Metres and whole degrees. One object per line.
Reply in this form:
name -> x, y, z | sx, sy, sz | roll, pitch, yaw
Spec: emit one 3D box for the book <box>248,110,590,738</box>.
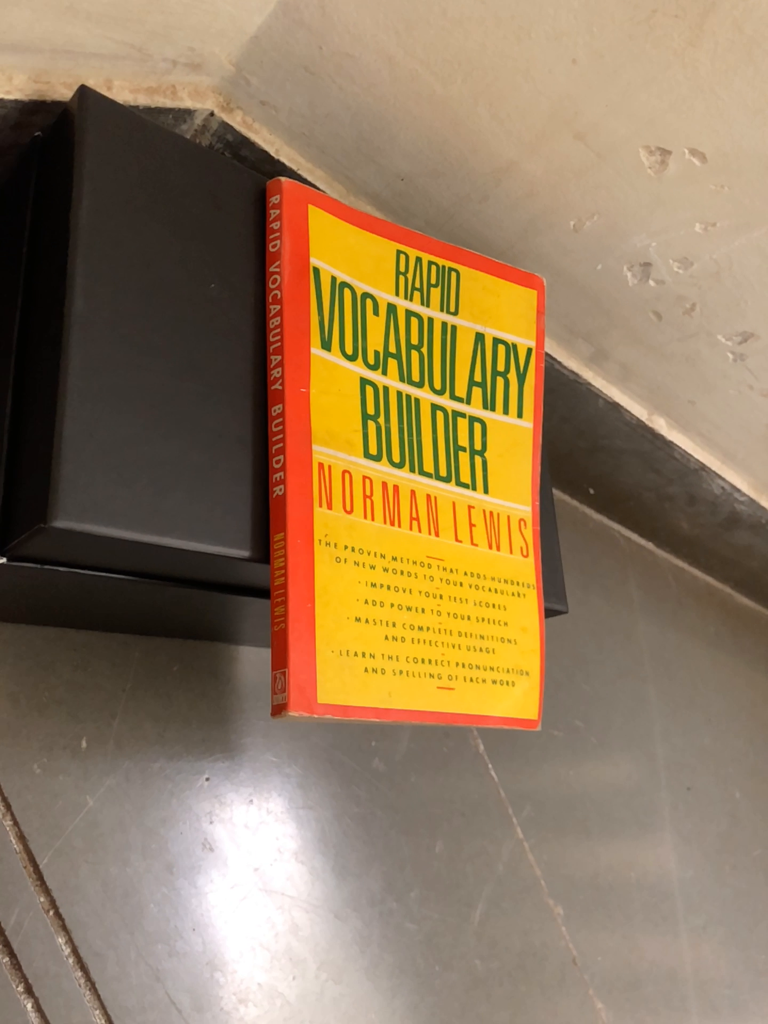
book -> 0.016, -0.031, 0.348 | 0.141, 0.030, 0.230 | 16, 63, -39
